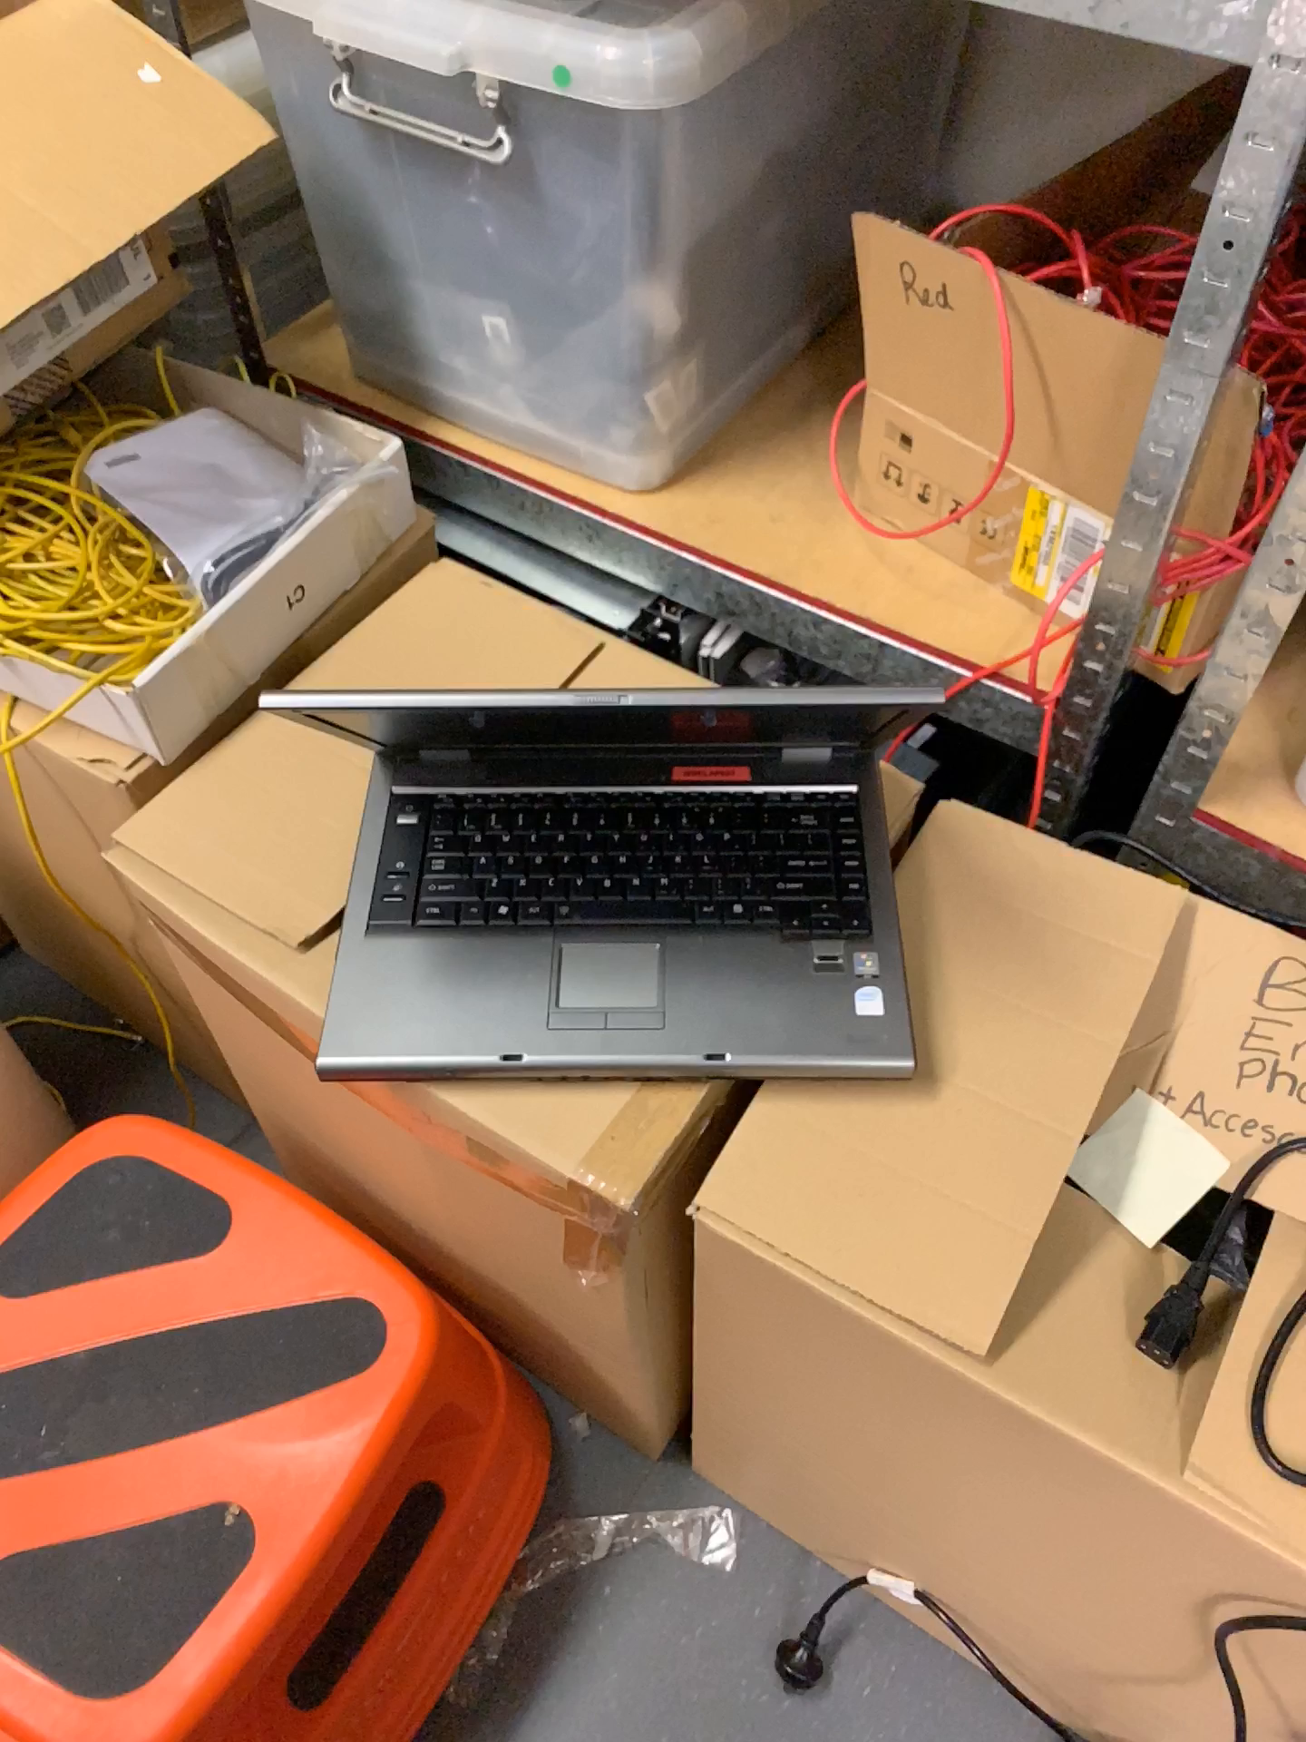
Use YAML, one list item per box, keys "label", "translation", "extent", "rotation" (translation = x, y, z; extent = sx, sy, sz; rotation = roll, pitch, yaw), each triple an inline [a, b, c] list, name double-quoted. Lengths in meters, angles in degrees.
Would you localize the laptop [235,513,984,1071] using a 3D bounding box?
- label: "laptop"
  translation: [-0.022, -0.045, 0.788]
  extent: [0.352, 0.203, 0.254]
  rotation: [0, 52, 2]
